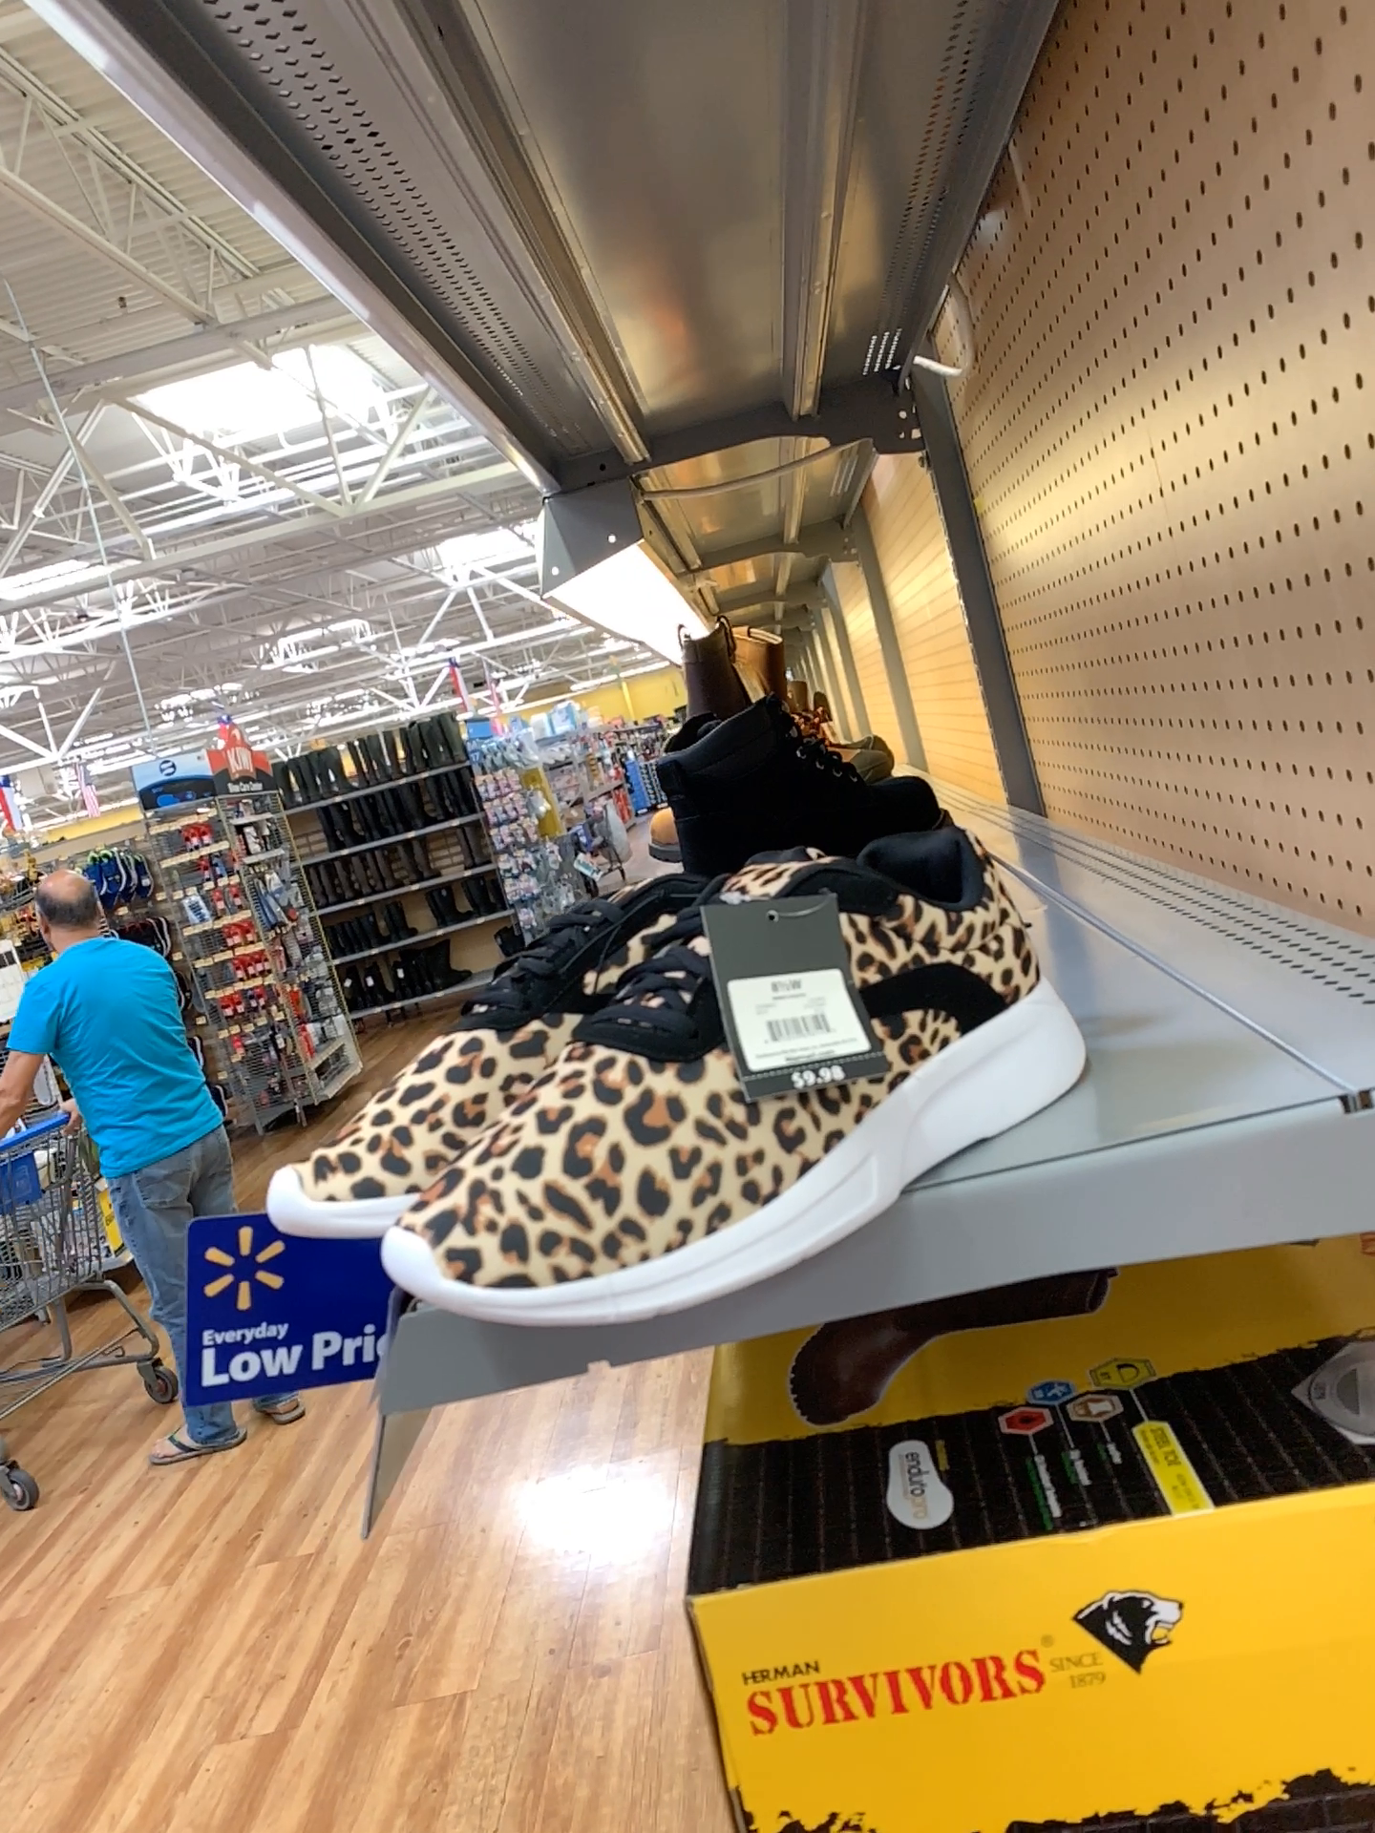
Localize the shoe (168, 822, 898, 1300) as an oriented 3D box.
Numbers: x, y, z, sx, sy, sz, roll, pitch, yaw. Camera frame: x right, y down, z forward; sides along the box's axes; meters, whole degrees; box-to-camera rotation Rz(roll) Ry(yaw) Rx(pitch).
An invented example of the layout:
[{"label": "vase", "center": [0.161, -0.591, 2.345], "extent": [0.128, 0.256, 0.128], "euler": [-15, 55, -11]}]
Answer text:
[{"label": "shoe", "center": [-0.058, 0.043, 0.546], "extent": [0.240, 0.091, 0.120], "euler": [-19, 8, -28]}]

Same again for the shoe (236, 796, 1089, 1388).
[{"label": "shoe", "center": [-0.001, 0.041, 0.454], "extent": [0.240, 0.091, 0.110], "euler": [-20, 8, -32]}]
